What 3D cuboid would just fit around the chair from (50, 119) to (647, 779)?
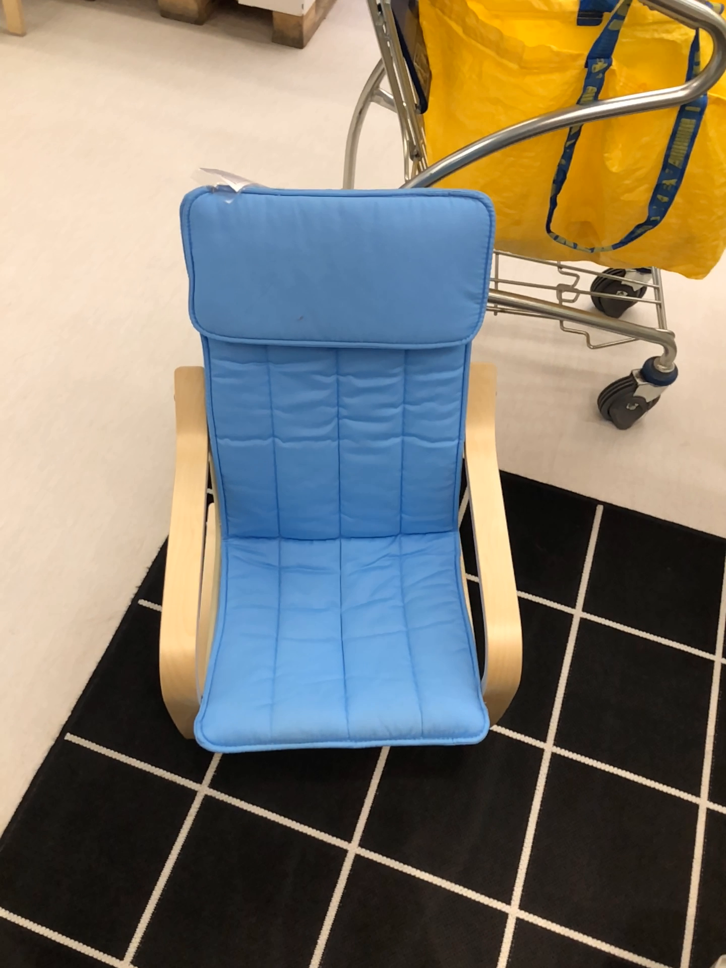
[{"bbox_3d":[-0.034,0.037,1.175,0.490,0.876,0.563,0,57,-3],"label":"chair"}]
